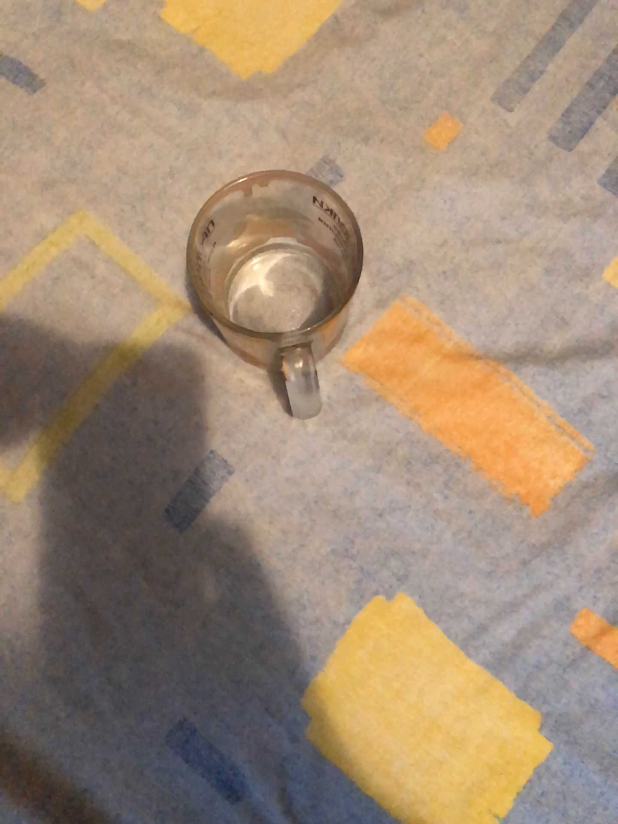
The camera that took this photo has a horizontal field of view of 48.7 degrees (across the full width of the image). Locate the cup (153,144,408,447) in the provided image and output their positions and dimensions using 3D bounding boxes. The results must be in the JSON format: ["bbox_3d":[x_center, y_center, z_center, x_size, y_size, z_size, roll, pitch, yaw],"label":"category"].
[{"bbox_3d":[-0.013,-0.051,0.346,0.084,0.092,0.110,-17,83,-2],"label":"cup"}]
